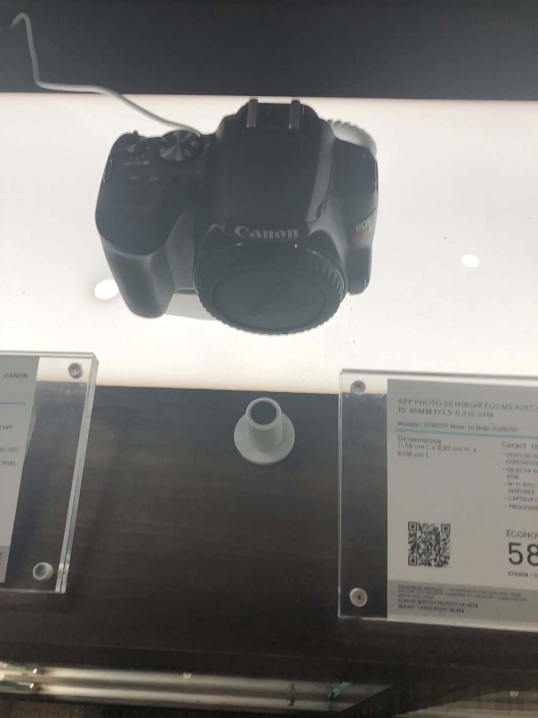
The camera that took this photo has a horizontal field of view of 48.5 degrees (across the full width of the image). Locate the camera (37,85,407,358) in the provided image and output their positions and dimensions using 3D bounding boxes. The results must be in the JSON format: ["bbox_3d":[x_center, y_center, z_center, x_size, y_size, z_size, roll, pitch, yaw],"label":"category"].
[{"bbox_3d":[-0.014,-0.056,0.249,0.123,0.071,0.080,2,57,2],"label":"camera"}]
